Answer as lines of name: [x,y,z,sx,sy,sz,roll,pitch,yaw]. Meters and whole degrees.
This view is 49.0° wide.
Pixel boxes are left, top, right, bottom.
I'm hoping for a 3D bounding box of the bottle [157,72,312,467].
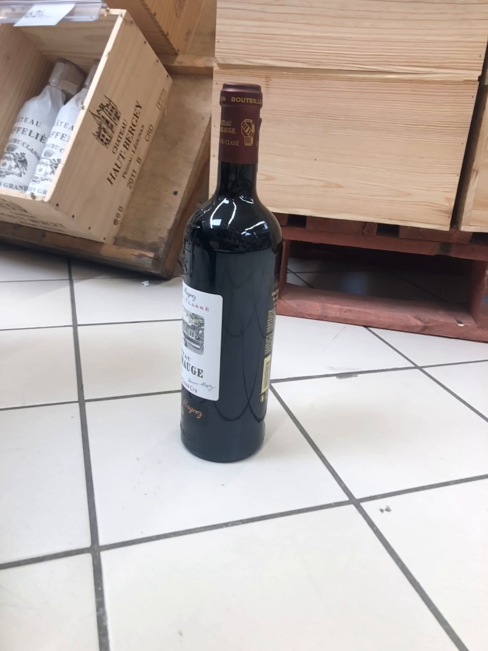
bottle: [-0.020,-0.038,0.430,0.090,0.289,0.090,4,21,-1]
